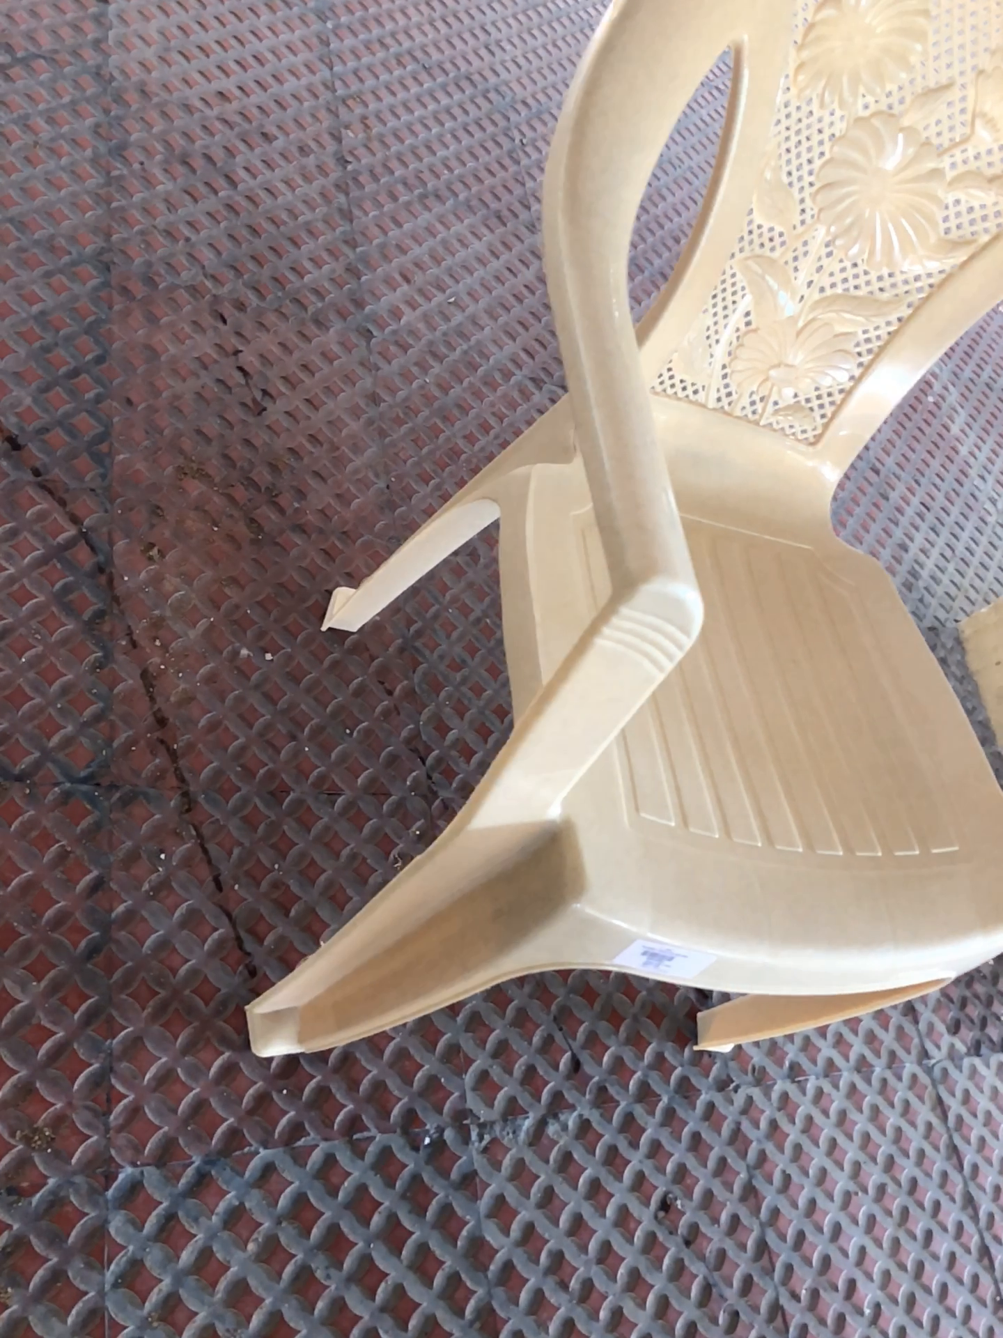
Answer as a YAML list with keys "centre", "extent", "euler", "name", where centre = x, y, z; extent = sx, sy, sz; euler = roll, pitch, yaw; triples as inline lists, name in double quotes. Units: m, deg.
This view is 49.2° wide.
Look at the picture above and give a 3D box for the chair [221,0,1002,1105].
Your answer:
- centre: [0.173, -0.070, 0.835]
  extent: [0.532, 0.804, 0.612]
  euler: [9, 58, -29]
  name: "chair"
